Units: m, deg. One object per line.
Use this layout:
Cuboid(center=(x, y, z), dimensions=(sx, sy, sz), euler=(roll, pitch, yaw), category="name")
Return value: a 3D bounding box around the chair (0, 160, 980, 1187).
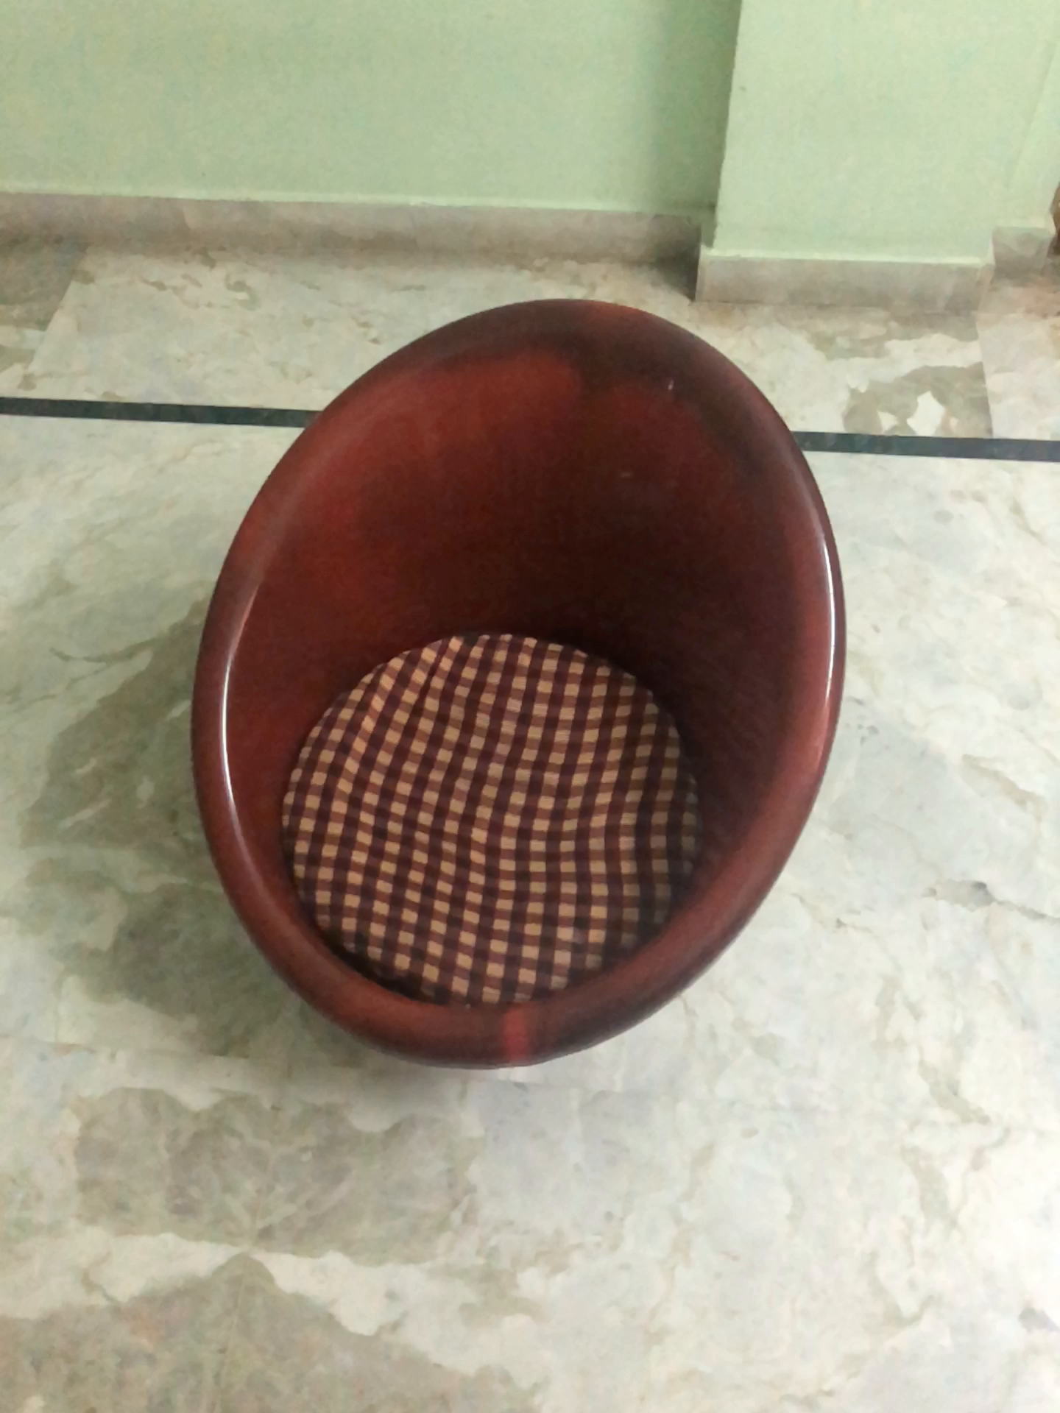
Cuboid(center=(-0.027, -0.034, 1.084), dimensions=(0.670, 0.547, 0.633), euler=(13, 57, 10), category="chair")
